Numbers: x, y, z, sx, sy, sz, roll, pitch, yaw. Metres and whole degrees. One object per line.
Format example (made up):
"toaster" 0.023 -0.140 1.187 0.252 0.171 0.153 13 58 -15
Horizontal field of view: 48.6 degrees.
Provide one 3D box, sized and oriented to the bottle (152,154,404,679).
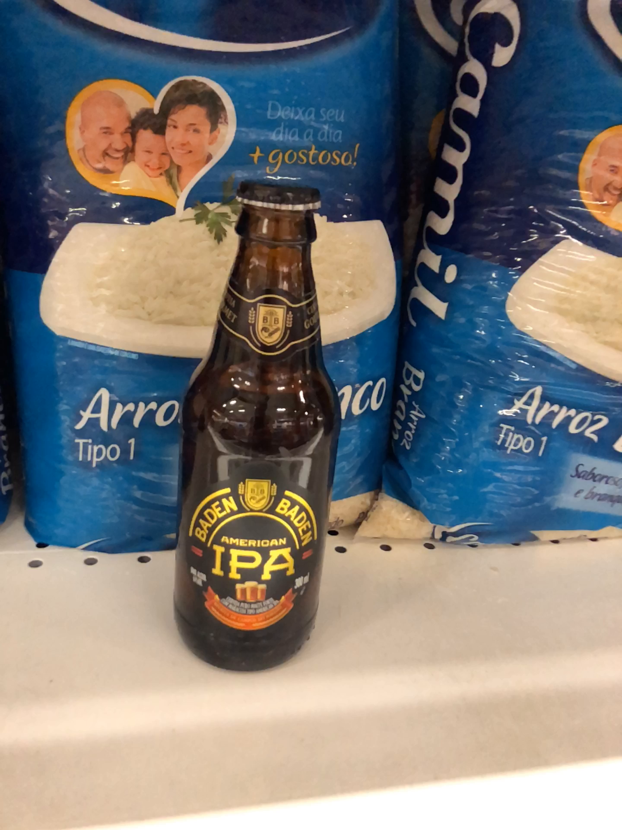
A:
"bottle" -0.020 0.006 0.265 0.070 0.189 0.060 4 24 -6
